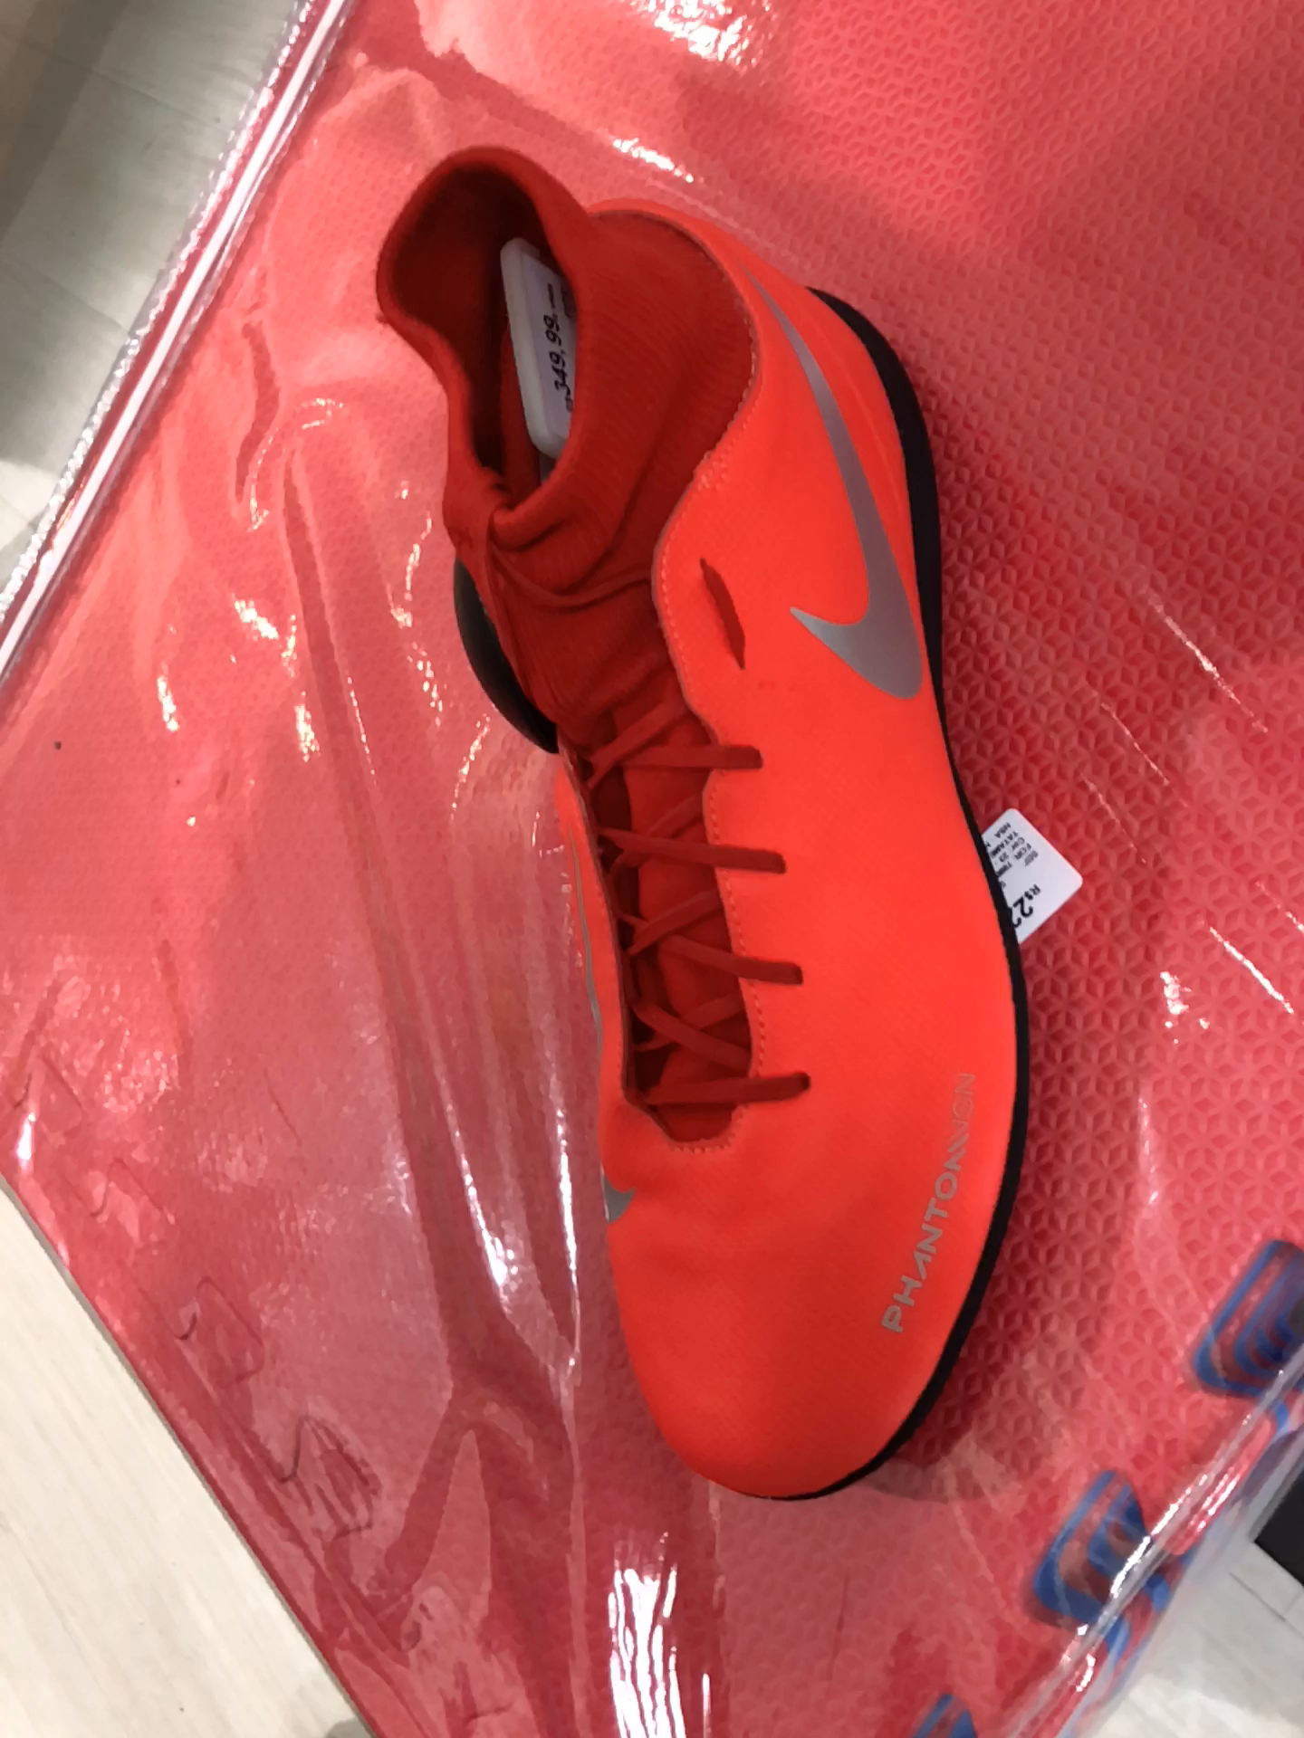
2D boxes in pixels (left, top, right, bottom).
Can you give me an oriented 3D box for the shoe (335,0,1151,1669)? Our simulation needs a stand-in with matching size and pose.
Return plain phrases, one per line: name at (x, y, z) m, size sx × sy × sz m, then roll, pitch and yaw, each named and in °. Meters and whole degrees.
shoe at (0.020, -0.007, 0.274) m, size 0.090 × 0.120 × 0.250 m, roll -11°, pitch 72°, yaw 30°
